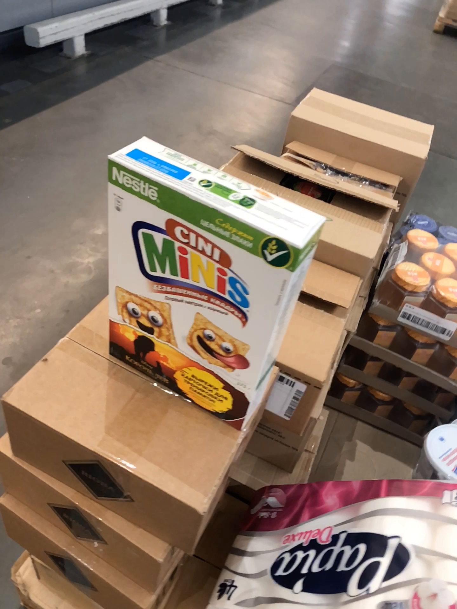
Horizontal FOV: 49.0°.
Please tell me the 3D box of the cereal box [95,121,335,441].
[{"bbox_3d":[-0.033,-0.009,0.510,0.200,0.278,0.060,28,45,17],"label":"cereal box"}]
